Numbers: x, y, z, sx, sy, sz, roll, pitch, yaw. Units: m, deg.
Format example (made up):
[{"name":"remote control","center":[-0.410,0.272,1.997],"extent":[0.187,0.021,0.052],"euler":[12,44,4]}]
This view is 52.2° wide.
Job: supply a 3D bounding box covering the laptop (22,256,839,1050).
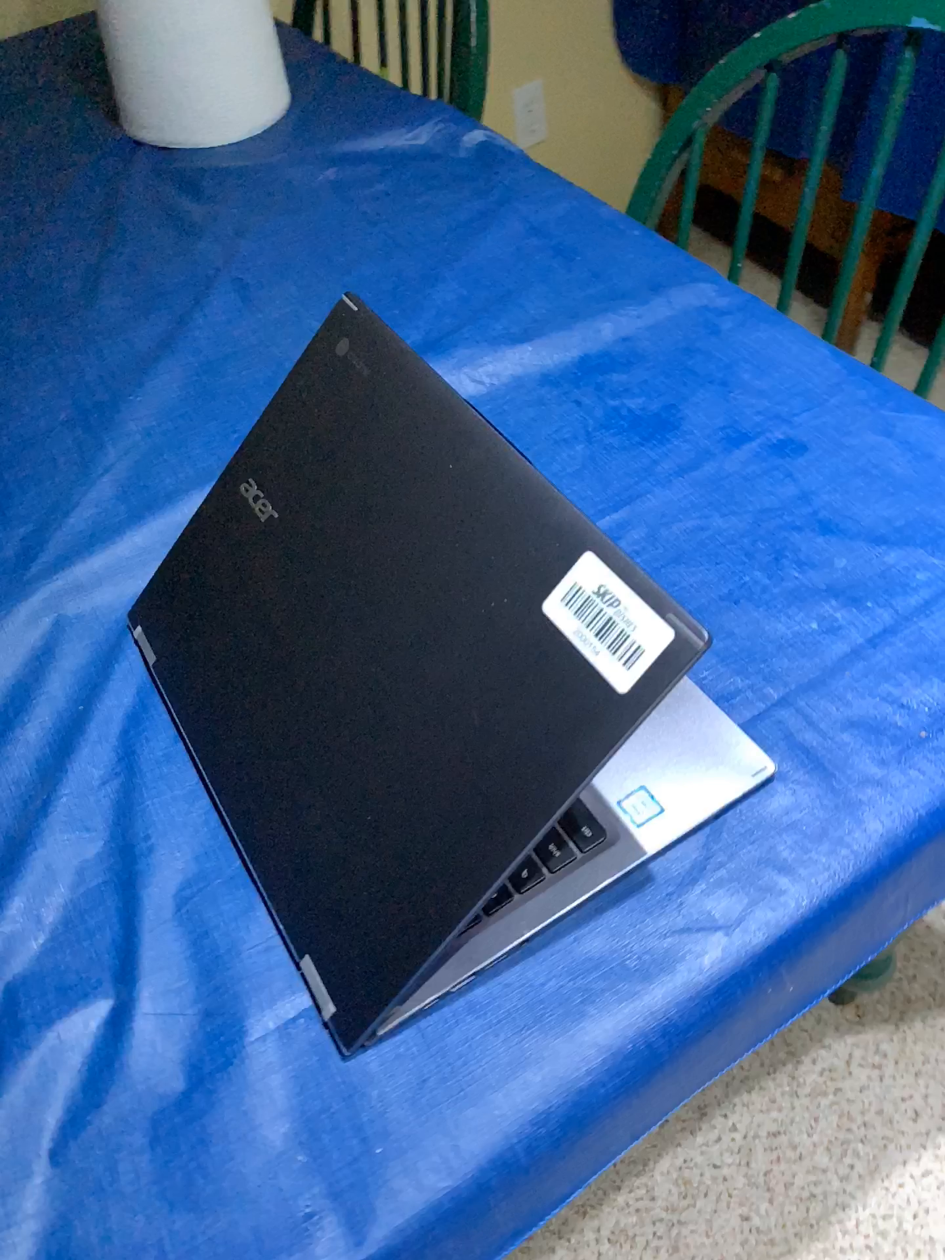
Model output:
[{"name":"laptop","center":[-0.035,-0.014,0.489],"extent":[0.250,0.151,0.305],"euler":[-28,53,-15]}]
